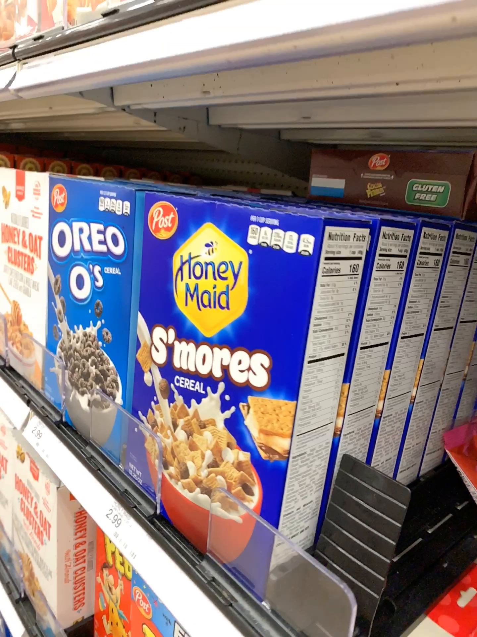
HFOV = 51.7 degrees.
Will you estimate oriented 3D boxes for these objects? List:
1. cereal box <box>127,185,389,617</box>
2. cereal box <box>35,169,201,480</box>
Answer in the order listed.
[{"bbox_3d":[-0.006,0.043,0.387,0.060,0.269,0.191,-5,18,-41],"label":"cereal box"},{"bbox_3d":[-0.136,-0.007,0.510,0.070,0.269,0.180,-6,19,-44],"label":"cereal box"}]
